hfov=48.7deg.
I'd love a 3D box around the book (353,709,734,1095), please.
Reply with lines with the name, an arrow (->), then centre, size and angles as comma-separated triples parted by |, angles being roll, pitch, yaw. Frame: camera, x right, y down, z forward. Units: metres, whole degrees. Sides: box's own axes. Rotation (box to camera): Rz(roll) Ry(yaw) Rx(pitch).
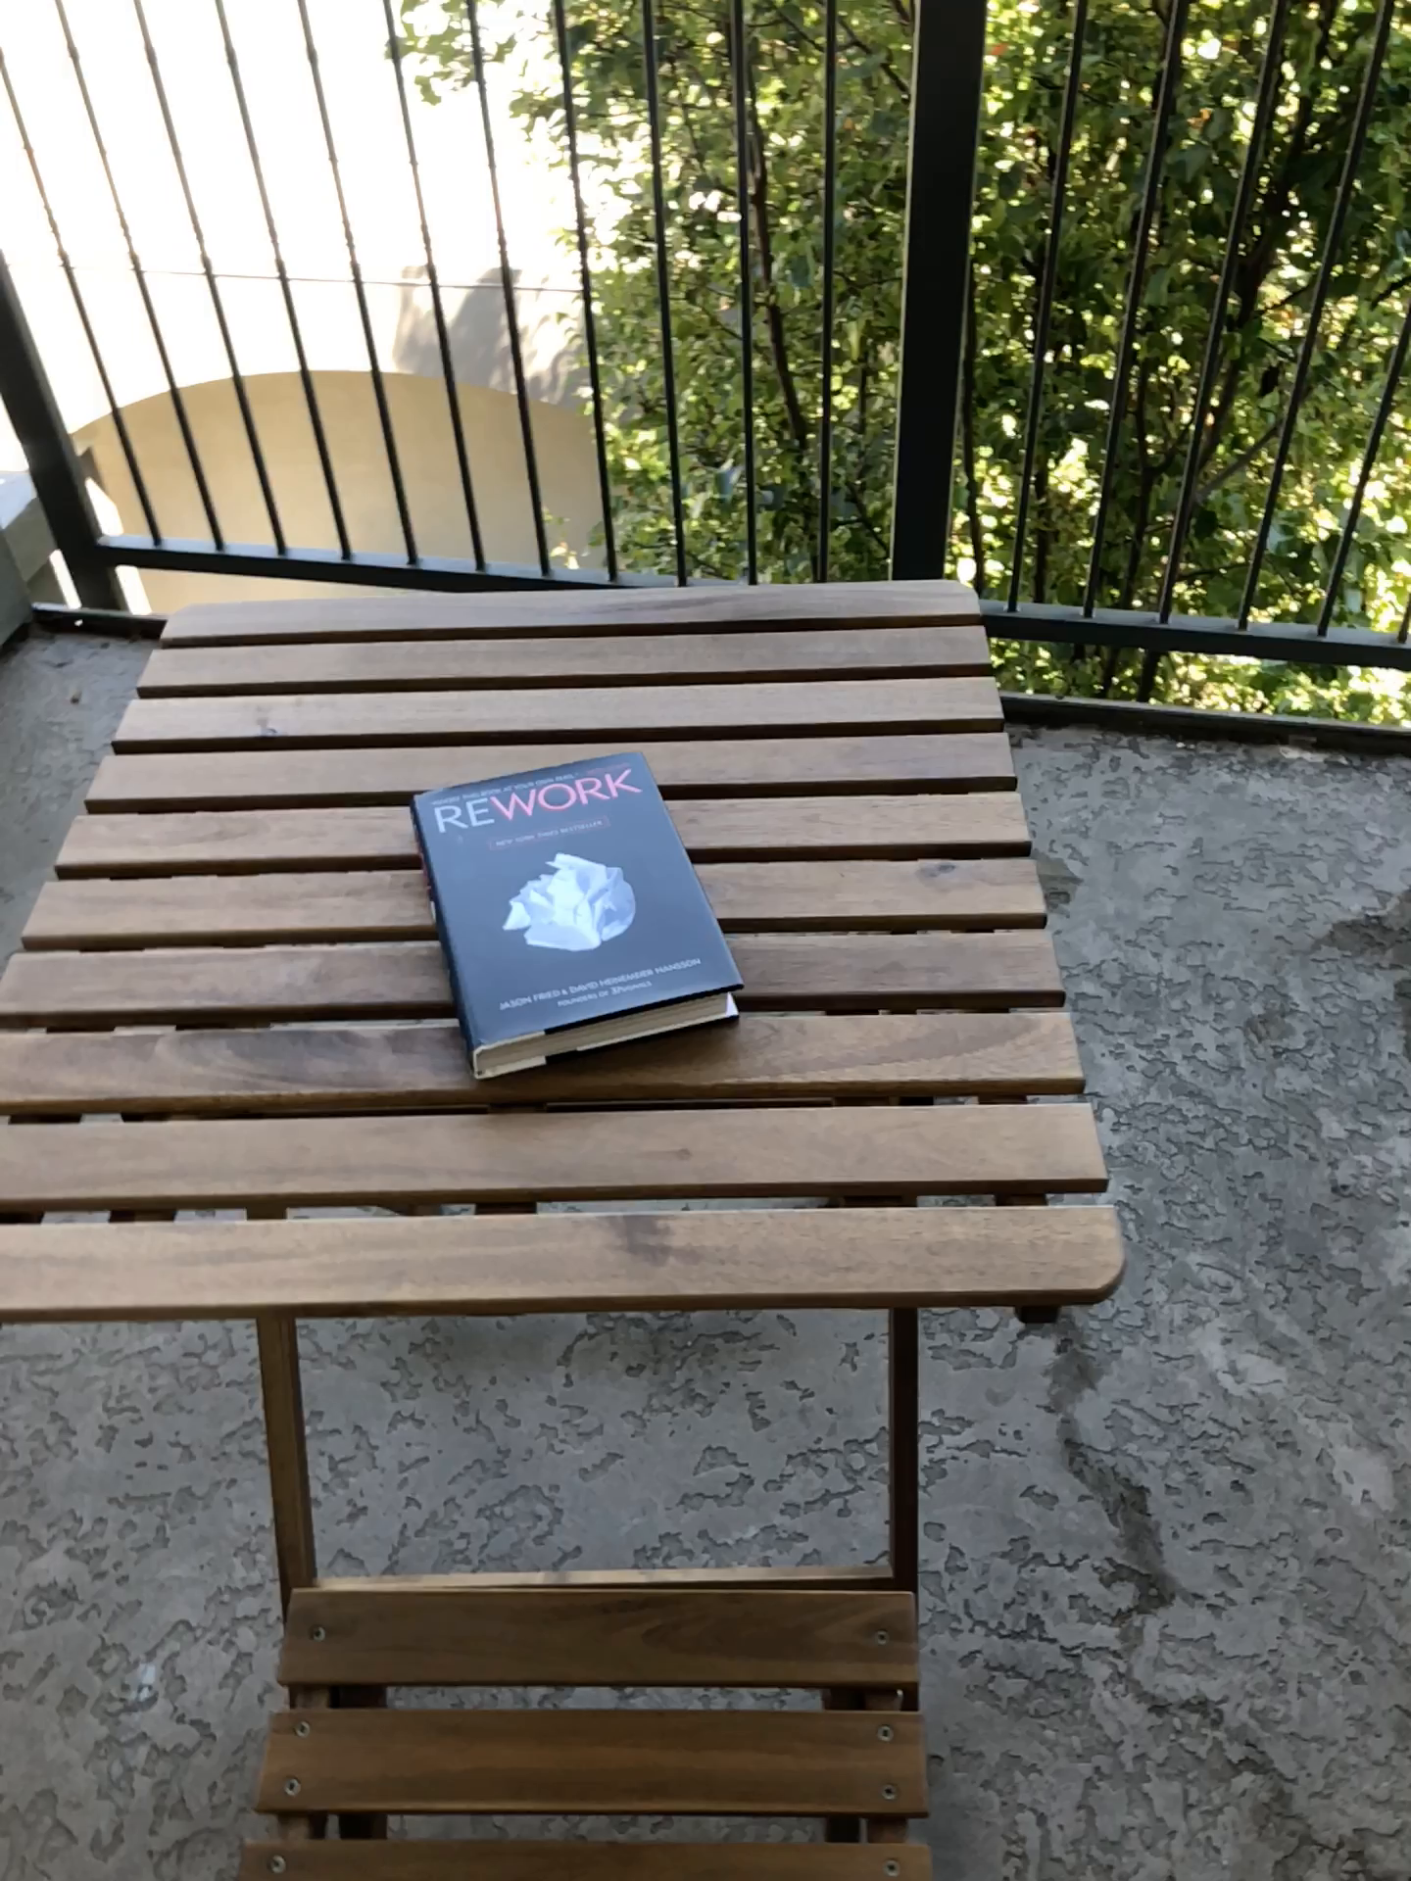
book -> -0.100, -0.032, 0.898 | 0.170, 0.040, 0.241 | -13, 45, -10
